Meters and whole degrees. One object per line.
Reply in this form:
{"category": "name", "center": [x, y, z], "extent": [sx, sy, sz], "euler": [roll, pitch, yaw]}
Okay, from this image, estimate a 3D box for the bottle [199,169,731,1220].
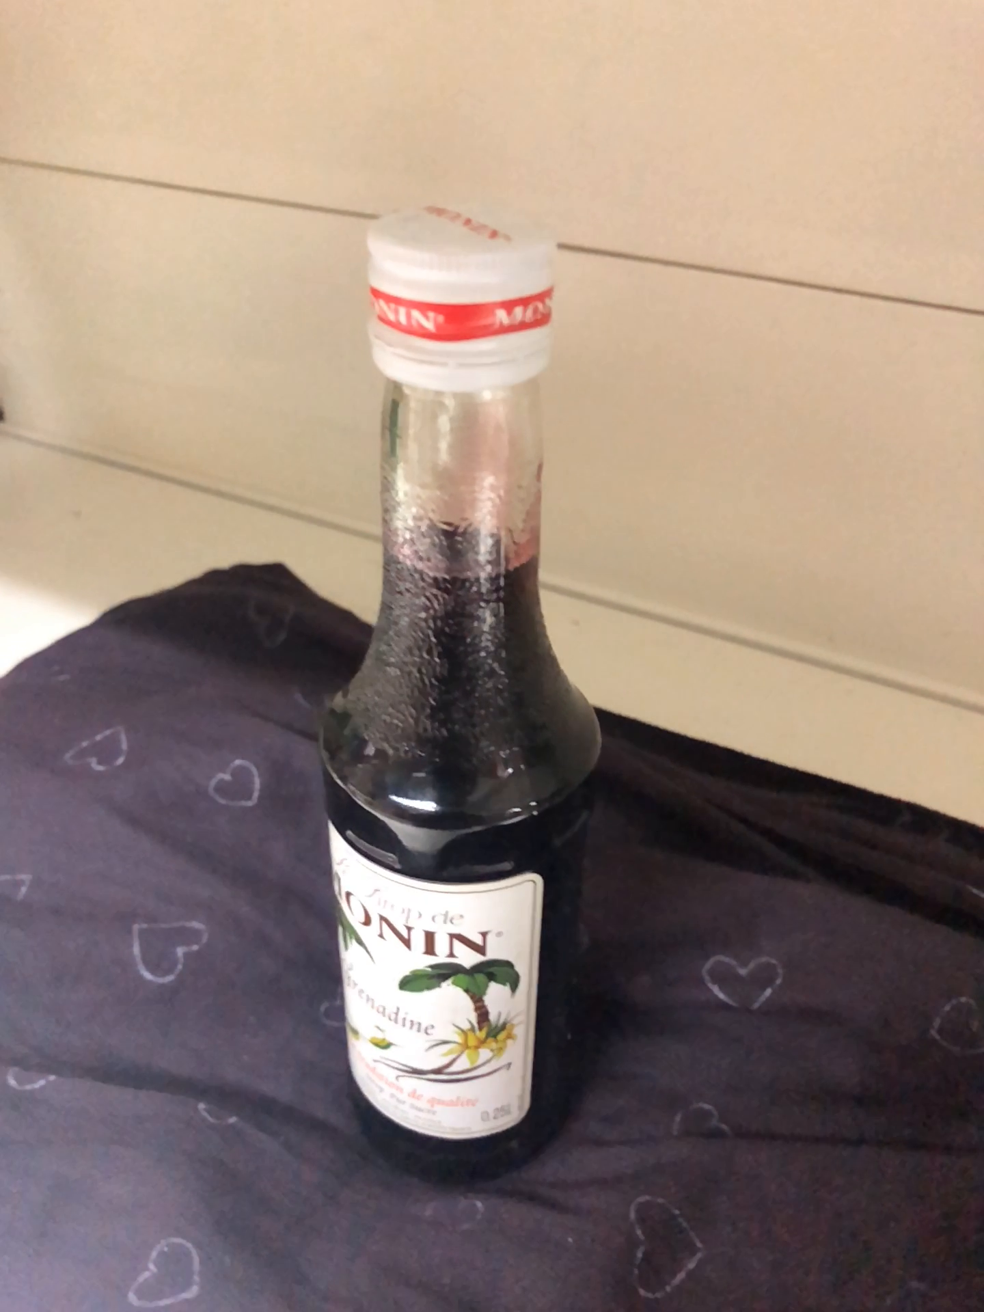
{"category": "bottle", "center": [-0.006, 0.016, 0.222], "extent": [0.060, 0.199, 0.060], "euler": [2, 32, -1]}
